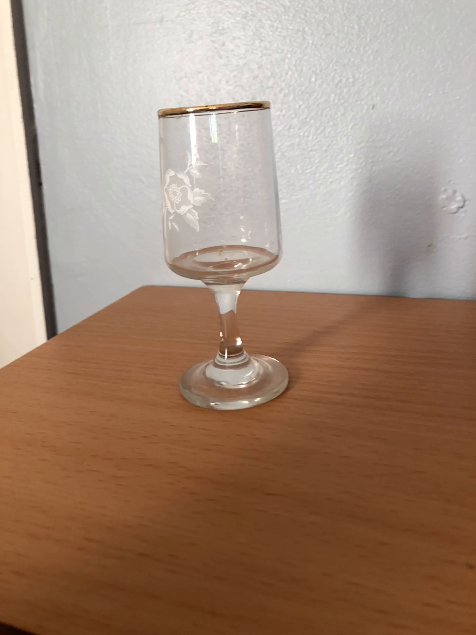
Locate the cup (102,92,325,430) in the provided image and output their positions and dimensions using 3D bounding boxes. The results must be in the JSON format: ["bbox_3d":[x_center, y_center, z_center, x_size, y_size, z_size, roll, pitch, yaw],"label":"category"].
[{"bbox_3d":[-0.006,-0.025,0.202,0.056,0.108,0.052,-4,19,1],"label":"cup"}]
